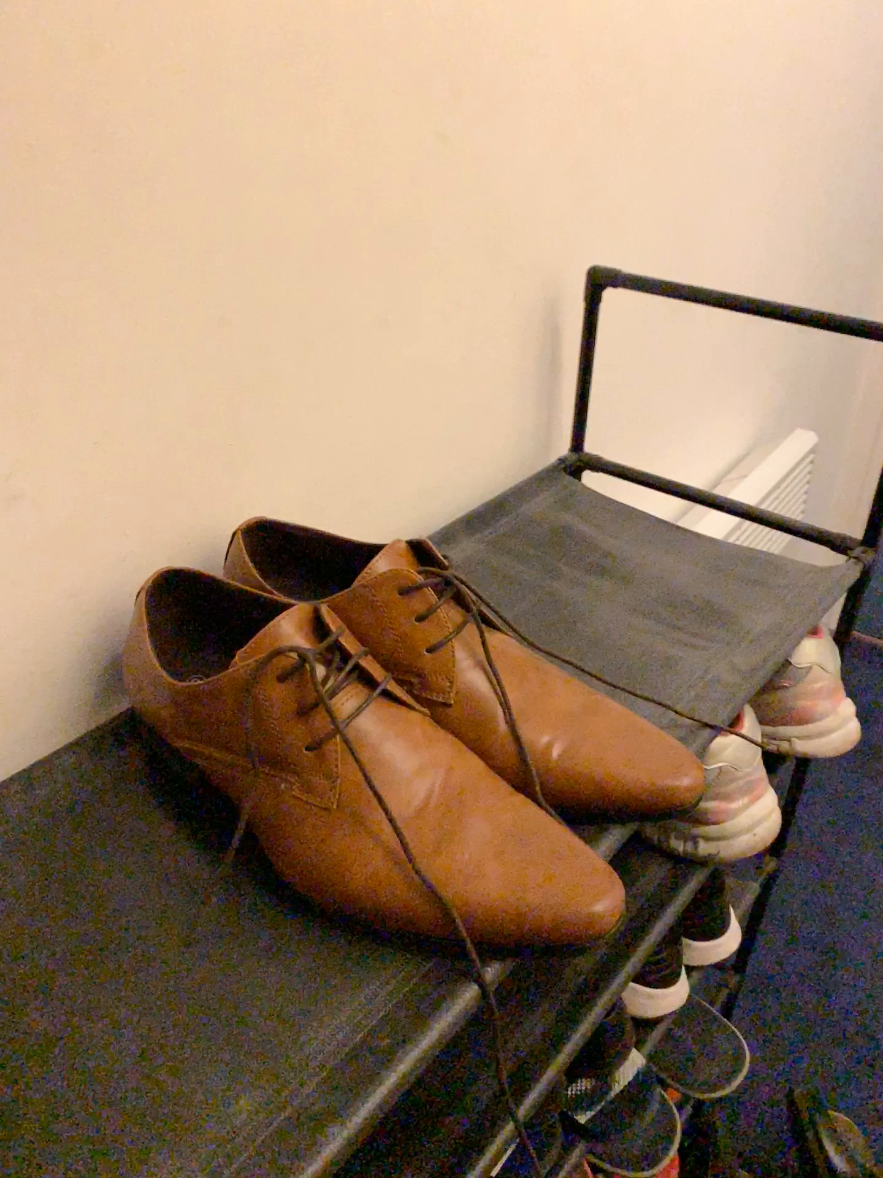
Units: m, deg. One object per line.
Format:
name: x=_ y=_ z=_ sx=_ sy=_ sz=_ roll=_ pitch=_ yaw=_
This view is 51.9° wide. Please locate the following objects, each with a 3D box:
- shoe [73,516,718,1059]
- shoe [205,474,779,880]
shoe: x=-0.030 y=0.068 z=0.419 sx=0.271 sy=0.099 sz=0.111 roll=21 pitch=37 yaw=30
shoe: x=0.018 y=0.032 z=0.504 sx=0.291 sy=0.099 sz=0.101 roll=18 pitch=36 yaw=27
